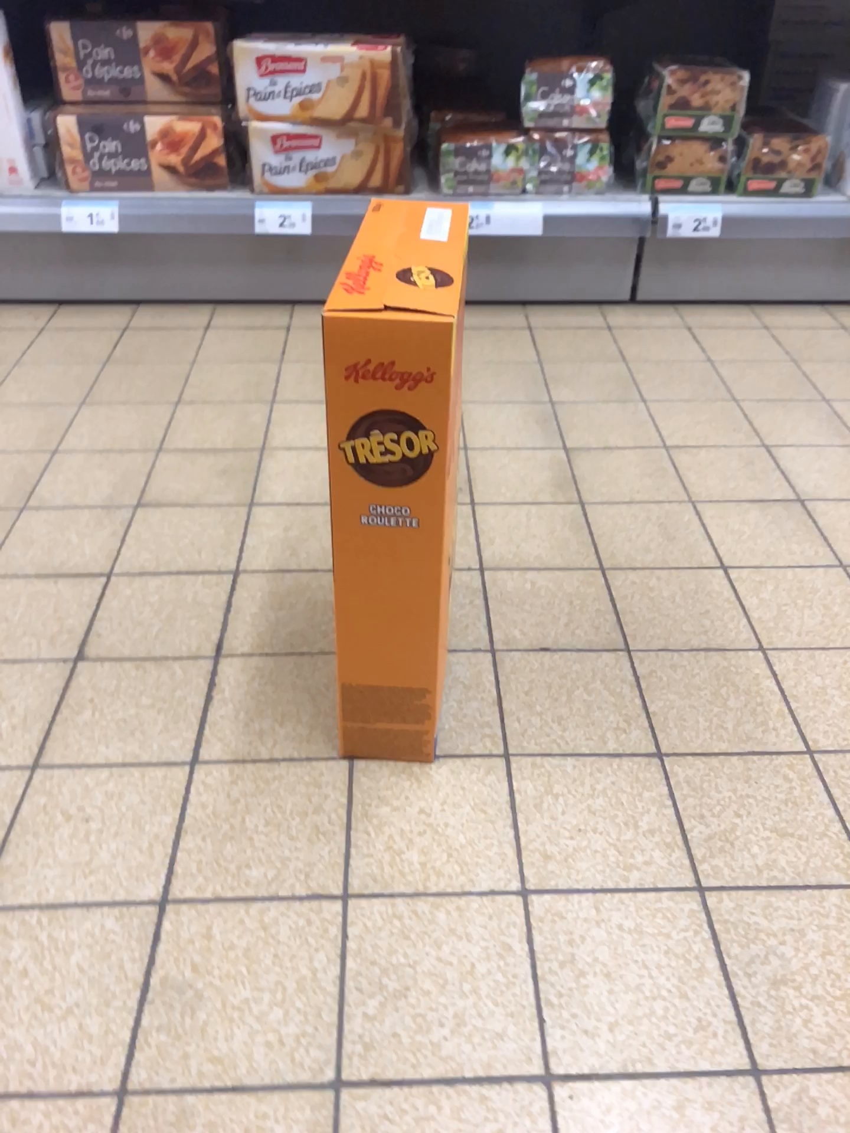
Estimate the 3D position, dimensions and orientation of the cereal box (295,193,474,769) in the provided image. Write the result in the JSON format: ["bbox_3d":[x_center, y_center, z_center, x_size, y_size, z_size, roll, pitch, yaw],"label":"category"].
[{"bbox_3d":[-0.016,-0.055,0.586,0.070,0.288,0.211,4,36,4],"label":"cereal box"}]
